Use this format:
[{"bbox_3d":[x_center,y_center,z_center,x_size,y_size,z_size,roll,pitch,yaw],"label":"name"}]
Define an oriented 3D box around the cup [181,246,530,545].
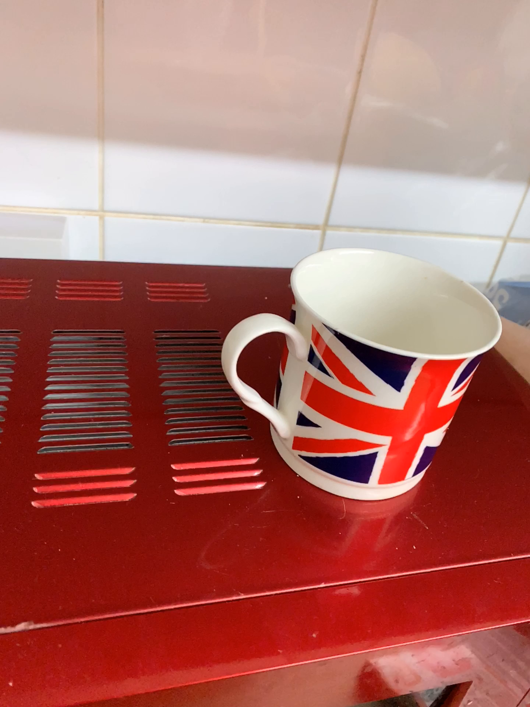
[{"bbox_3d":[0.036,0.009,0.233,0.120,0.079,0.081,-5,37,-23],"label":"cup"}]
